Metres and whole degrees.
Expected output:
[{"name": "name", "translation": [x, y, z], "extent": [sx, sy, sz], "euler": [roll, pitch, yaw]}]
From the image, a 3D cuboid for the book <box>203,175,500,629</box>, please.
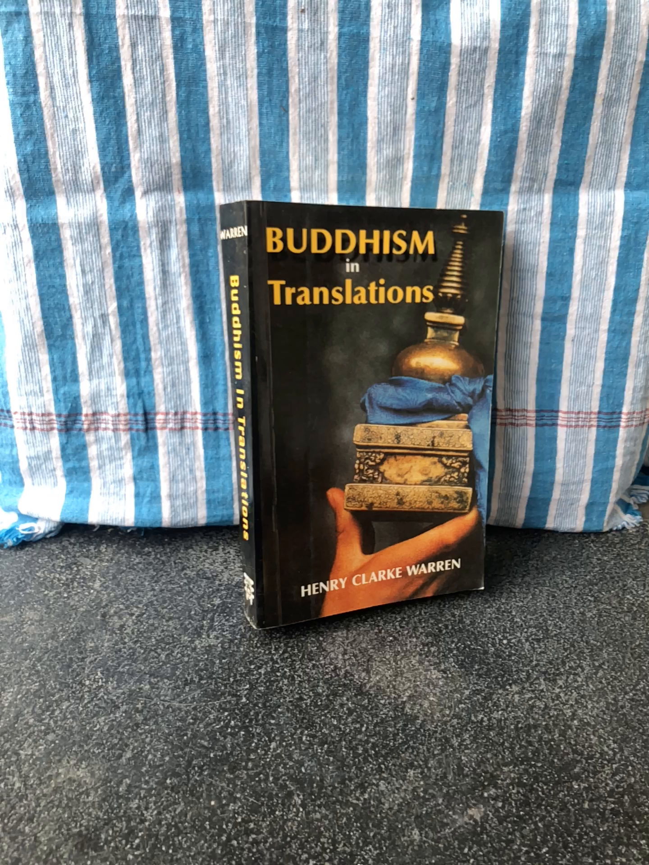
[{"name": "book", "translation": [0.017, -0.018, 0.381], "extent": [0.140, 0.210, 0.050], "euler": [-5, 5, -21]}]
